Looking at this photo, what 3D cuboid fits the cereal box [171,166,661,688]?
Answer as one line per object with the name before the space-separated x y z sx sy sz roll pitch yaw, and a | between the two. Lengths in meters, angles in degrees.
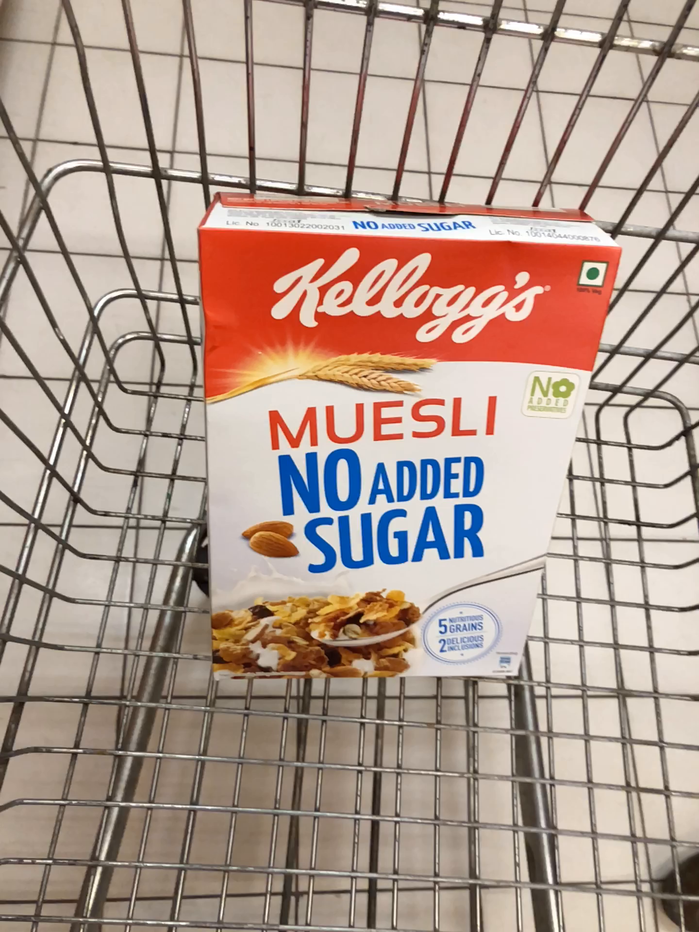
cereal box | 0.016 -0.004 0.395 0.190 0.259 0.070 1 33 -7
